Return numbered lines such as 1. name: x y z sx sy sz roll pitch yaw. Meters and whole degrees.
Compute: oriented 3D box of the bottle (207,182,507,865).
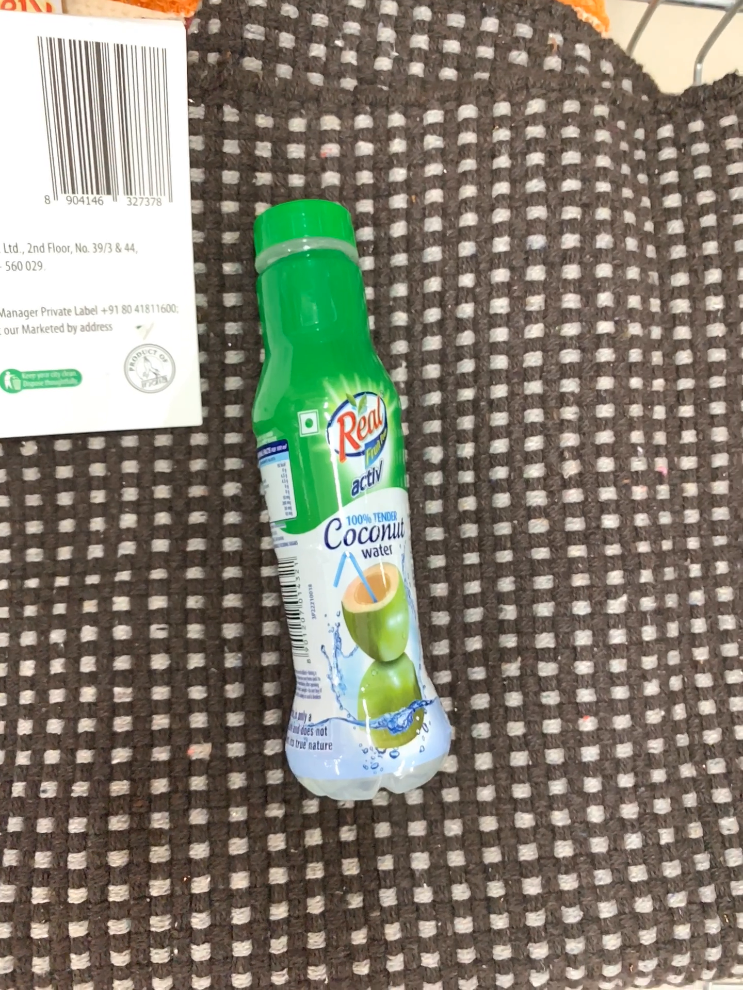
1. bottle: -0.005 0.006 0.218 0.060 0.040 0.170 -7 95 -17
